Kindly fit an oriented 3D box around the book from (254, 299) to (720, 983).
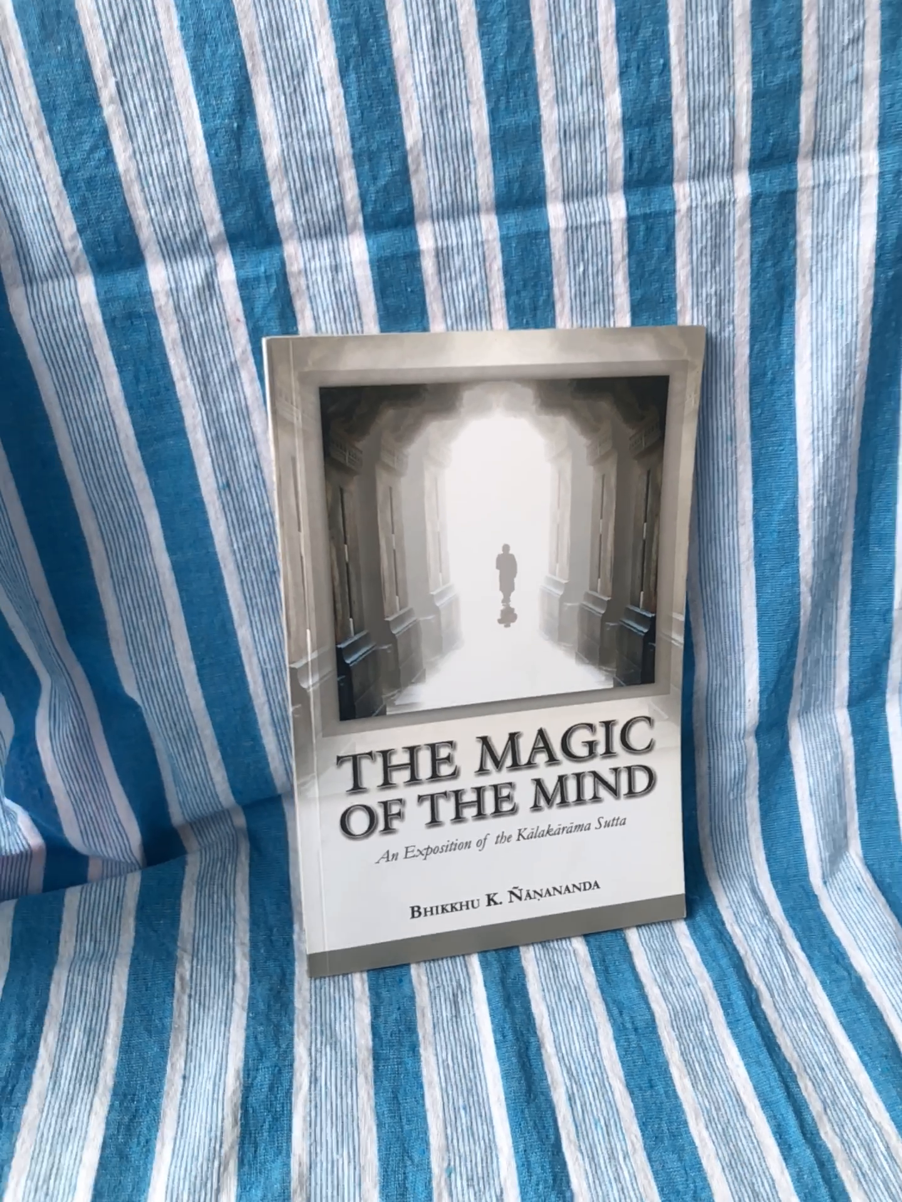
[{"bbox_3d":[0.018,0.014,0.338,0.150,0.220,0.010,-4,11,-13],"label":"book"}]
